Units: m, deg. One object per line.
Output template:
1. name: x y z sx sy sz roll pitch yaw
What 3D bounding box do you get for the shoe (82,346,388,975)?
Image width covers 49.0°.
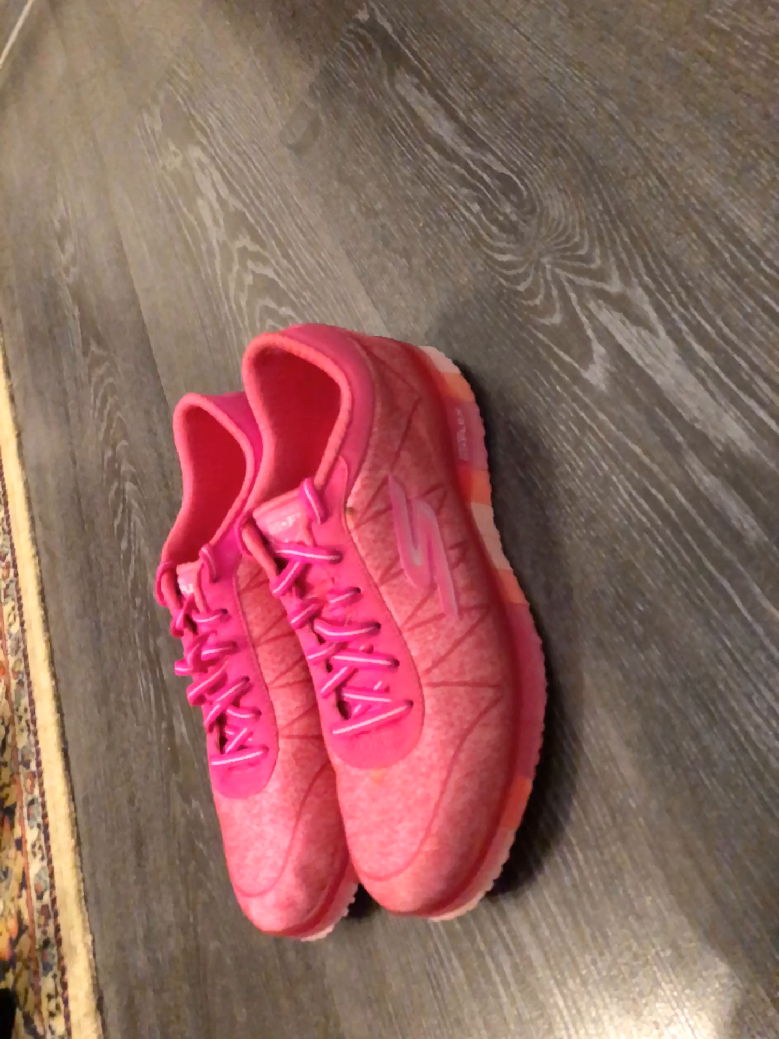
1. shoe: -0.072 0.065 0.415 0.100 0.089 0.260 -21 63 42

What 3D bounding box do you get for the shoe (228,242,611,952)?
1. shoe: 0.000 0.031 0.361 0.100 0.089 0.261 -27 59 39
